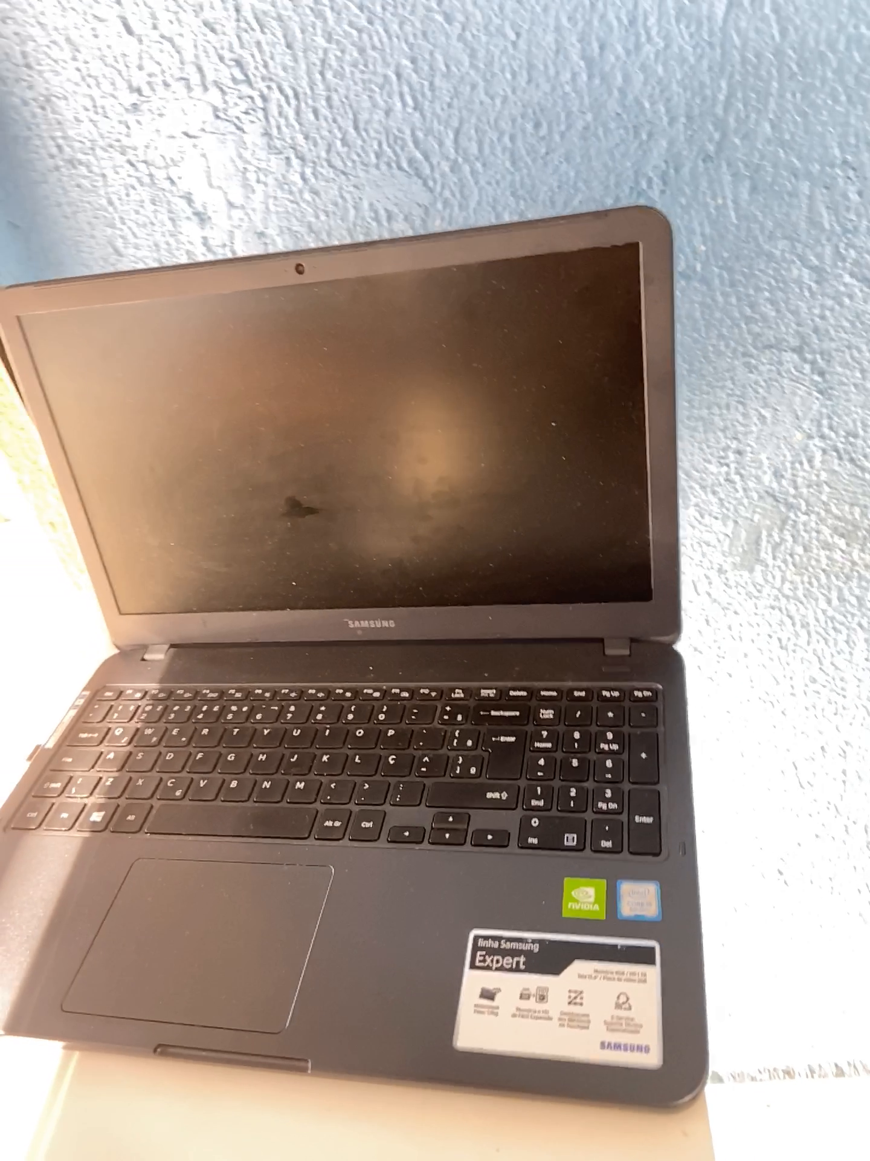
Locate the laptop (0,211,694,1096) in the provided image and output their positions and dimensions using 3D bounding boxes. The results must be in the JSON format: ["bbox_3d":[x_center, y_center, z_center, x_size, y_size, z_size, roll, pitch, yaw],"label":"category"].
[{"bbox_3d":[-0.080,0.014,0.418,0.370,0.232,0.288,-2,37,15],"label":"laptop"}]
